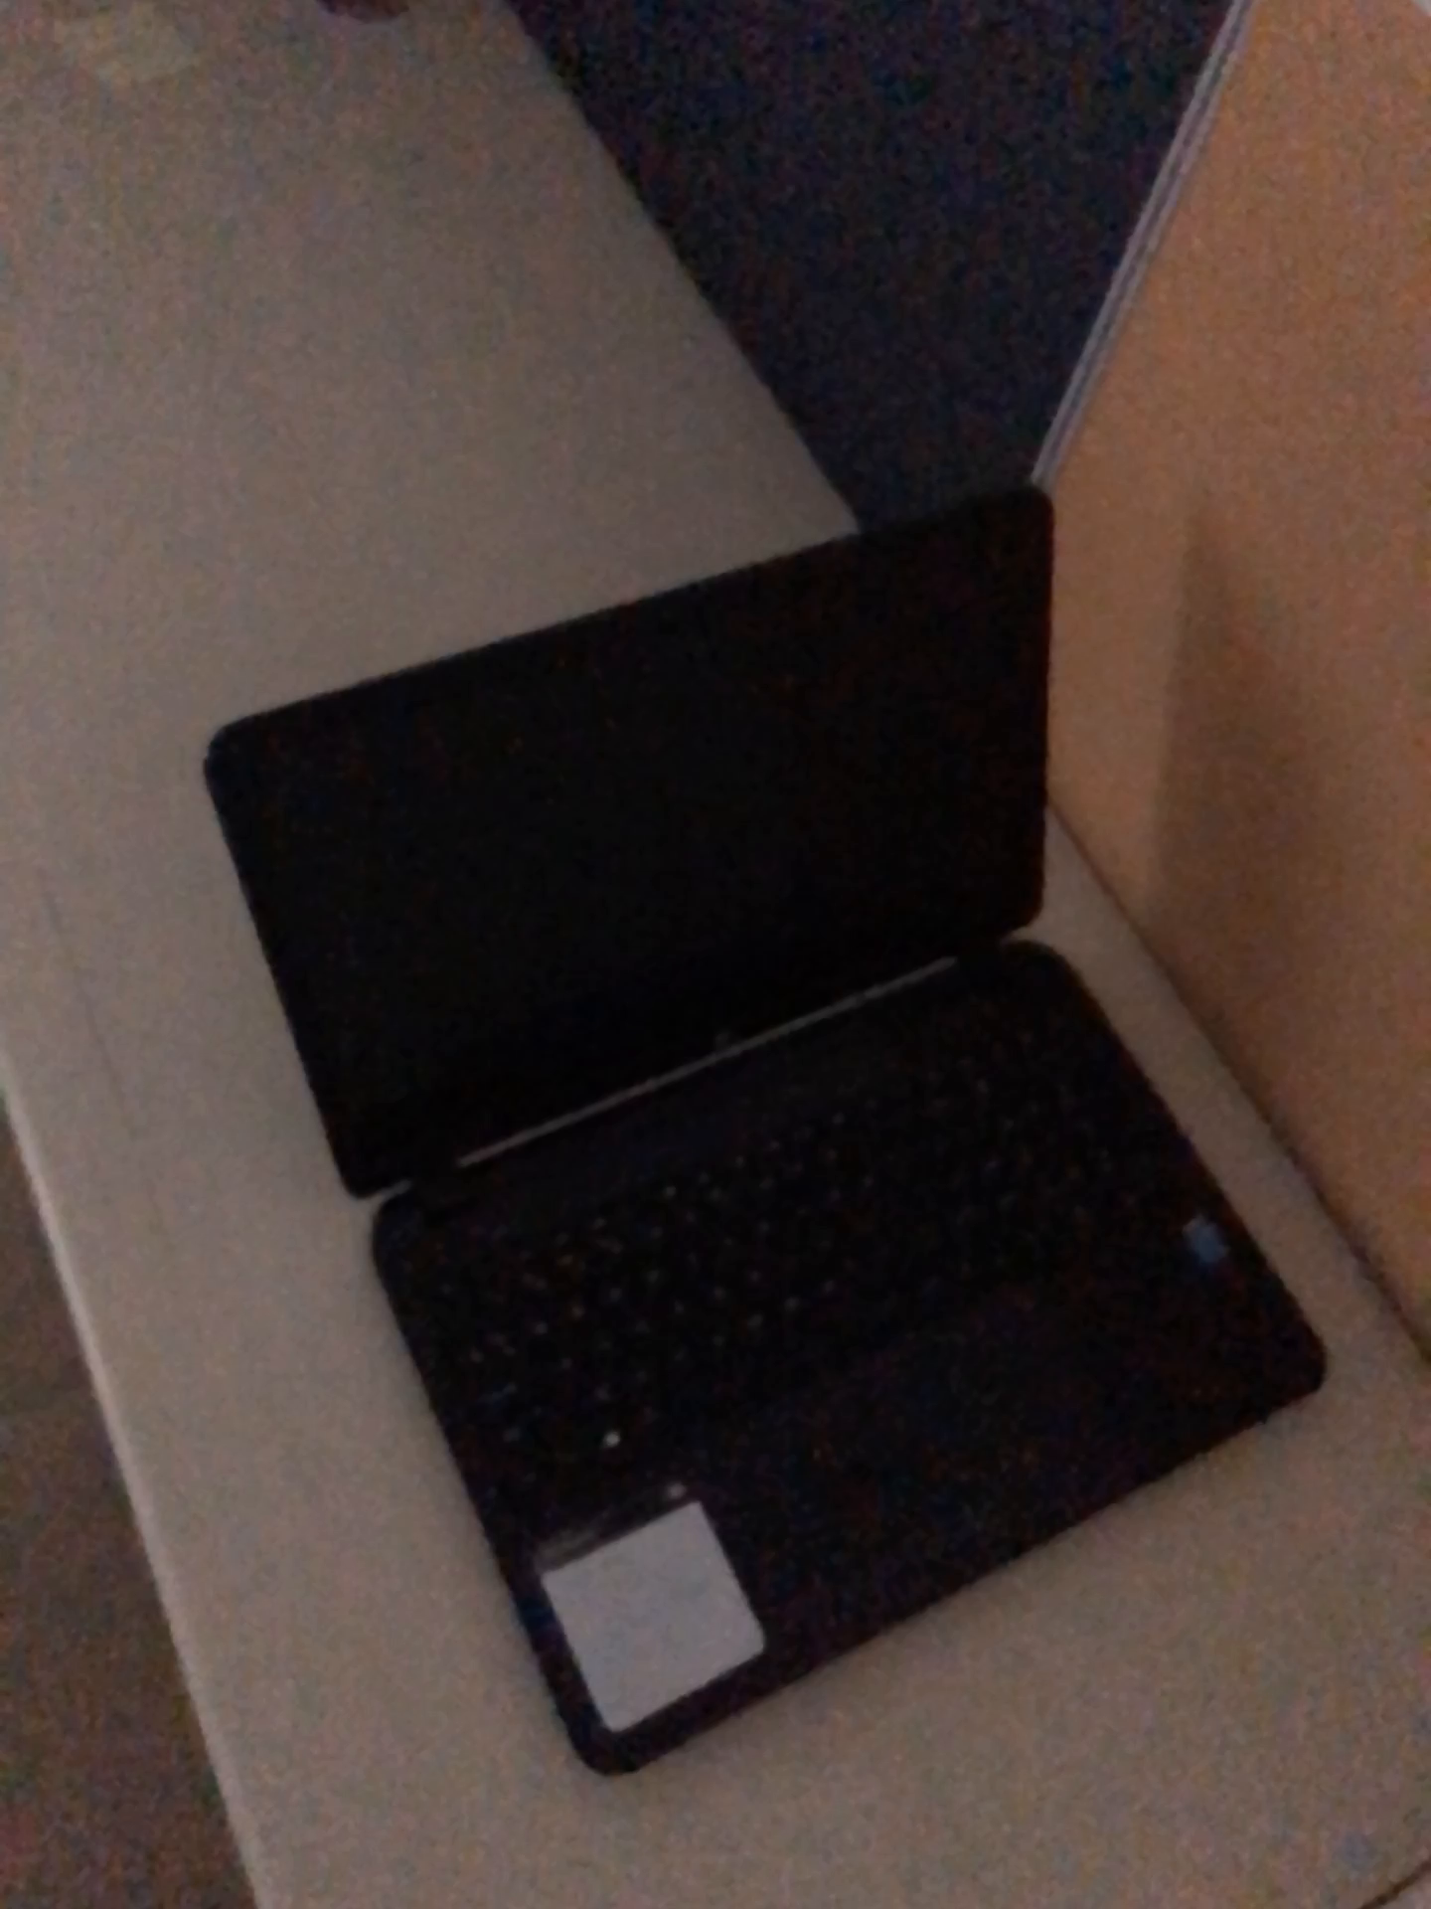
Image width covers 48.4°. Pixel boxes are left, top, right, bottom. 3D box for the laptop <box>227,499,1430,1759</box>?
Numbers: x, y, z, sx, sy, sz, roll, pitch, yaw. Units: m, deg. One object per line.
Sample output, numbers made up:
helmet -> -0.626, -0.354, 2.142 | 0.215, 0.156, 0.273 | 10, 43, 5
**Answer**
laptop -> 0.047, 0.056, 0.642 | 0.356, 0.206, 0.352 | -21, 65, -18
